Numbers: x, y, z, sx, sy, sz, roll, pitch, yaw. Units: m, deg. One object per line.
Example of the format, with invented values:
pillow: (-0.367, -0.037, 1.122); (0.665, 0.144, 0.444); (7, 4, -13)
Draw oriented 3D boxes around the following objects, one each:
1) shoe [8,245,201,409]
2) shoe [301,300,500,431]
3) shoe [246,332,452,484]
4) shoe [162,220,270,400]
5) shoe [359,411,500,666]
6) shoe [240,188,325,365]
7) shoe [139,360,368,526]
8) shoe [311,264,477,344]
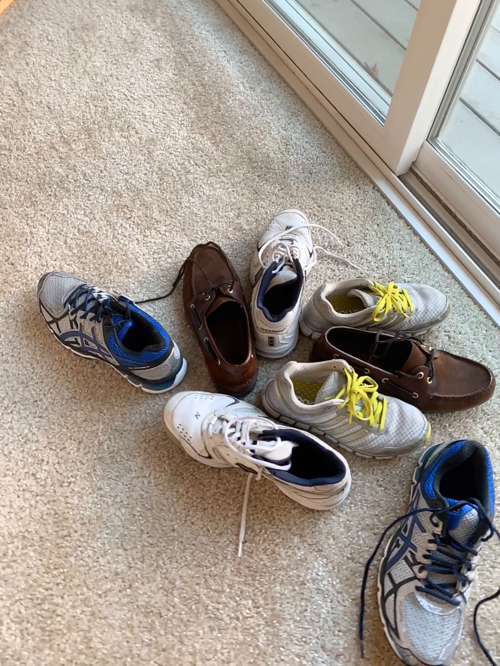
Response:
shoe: (-0.221, -0.013, 0.791); (0.270, 0.090, 0.110); (30, 64, 16)
shoe: (0.230, 0.049, 0.775); (0.280, 0.080, 0.100); (16, 61, 6)
shoe: (0.127, 0.101, 0.685); (0.240, 0.090, 0.100); (20, 62, 8)
shoe: (-0.061, -0.043, 0.854); (0.100, 0.110, 0.271); (-15, 61, -10)
shoe: (0.241, 0.268, 0.658); (0.110, 0.110, 0.291); (18, 63, 8)
shoe: (0.056, -0.098, 0.848); (0.100, 0.110, 0.271); (8, 59, 3)
shoe: (0.002, 0.151, 0.698); (0.280, 0.110, 0.090); (22, 62, 12)
shoe: (0.222, -0.046, 0.809); (0.230, 0.060, 0.100); (-3, 61, -5)
